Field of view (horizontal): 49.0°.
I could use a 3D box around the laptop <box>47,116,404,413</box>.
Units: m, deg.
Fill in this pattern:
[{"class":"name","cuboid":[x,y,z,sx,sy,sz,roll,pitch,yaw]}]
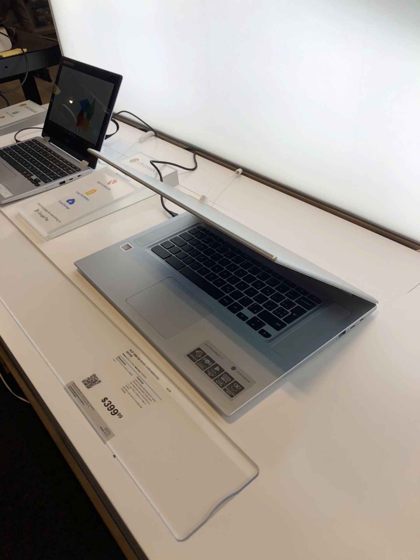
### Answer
[{"class":"laptop","cuboid":[0.000,-0.062,0.605,0.254,0.166,0.369,-28,43,-27]}]
